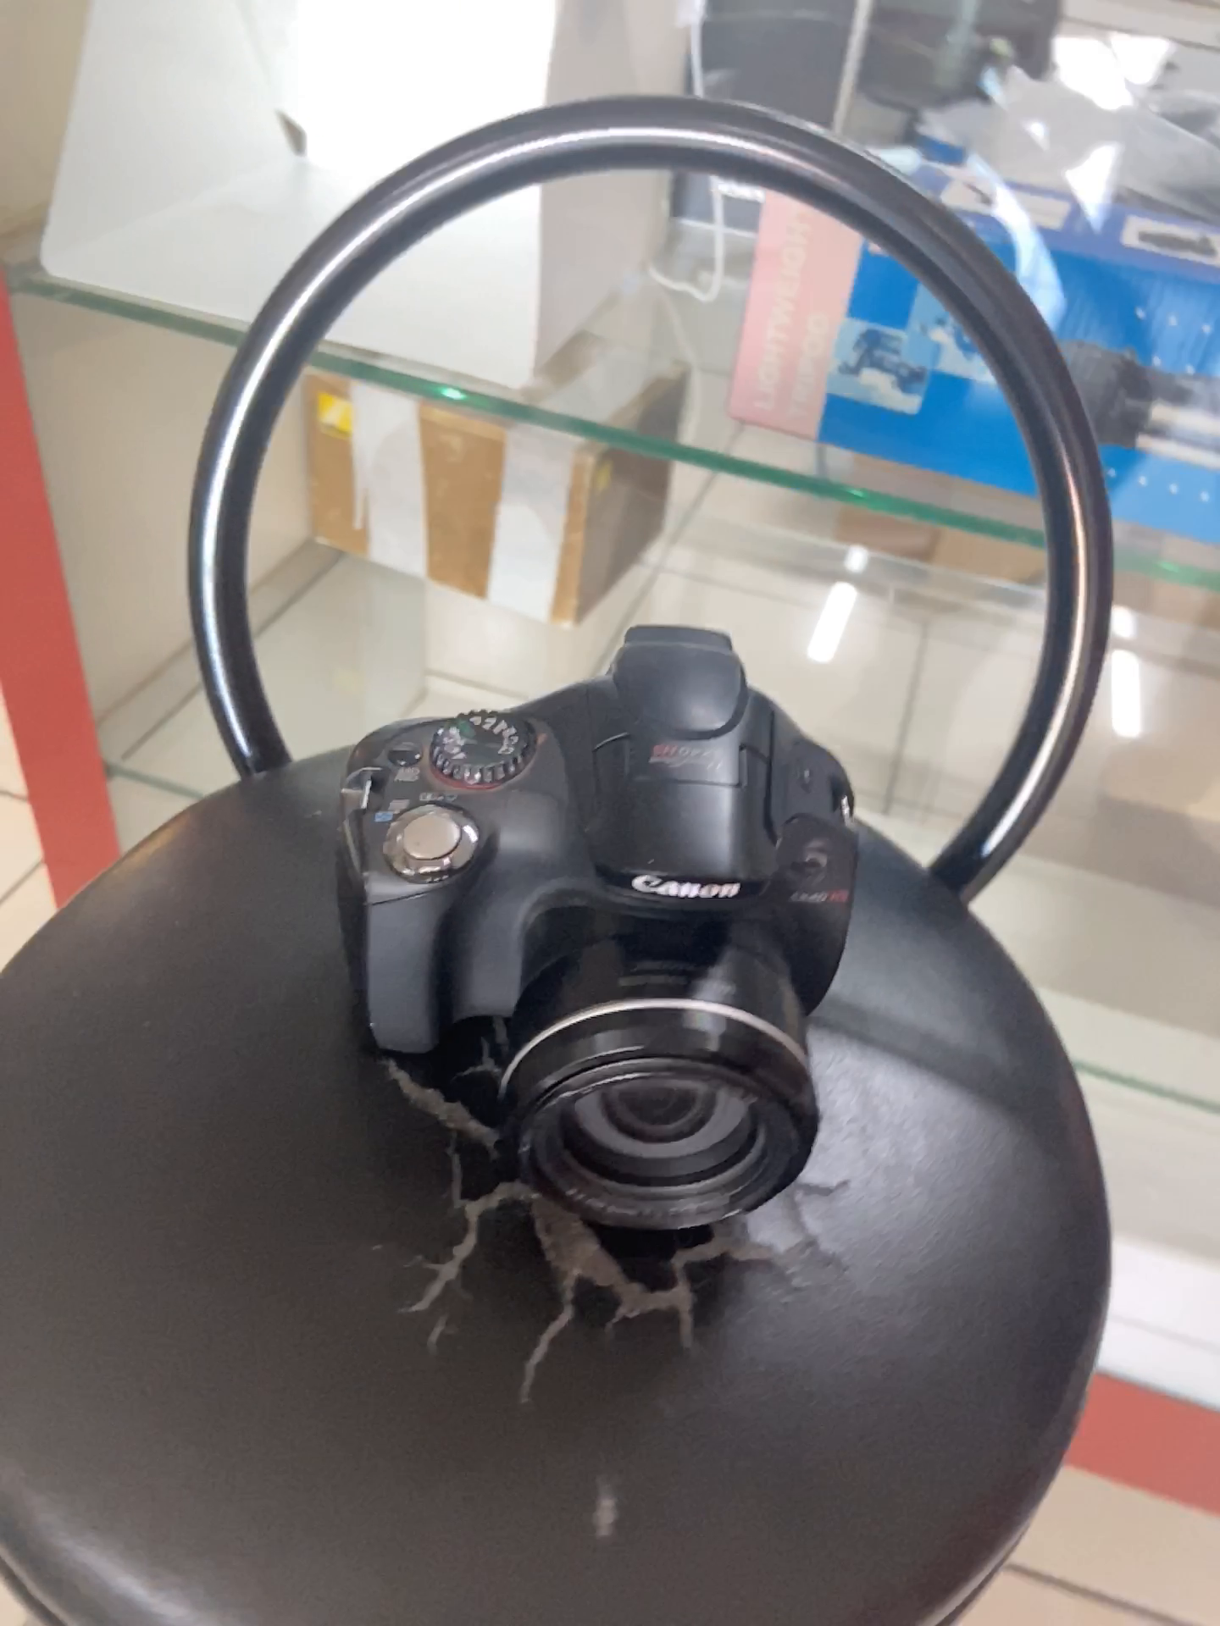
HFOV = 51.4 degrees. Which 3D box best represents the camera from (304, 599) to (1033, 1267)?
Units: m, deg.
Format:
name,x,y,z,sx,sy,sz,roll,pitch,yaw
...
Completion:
name,x,y,z,sx,sy,sz,roll,pitch,yaw
camera,0.004,0.024,0.277,0.120,0.089,0.111,2,39,-6
